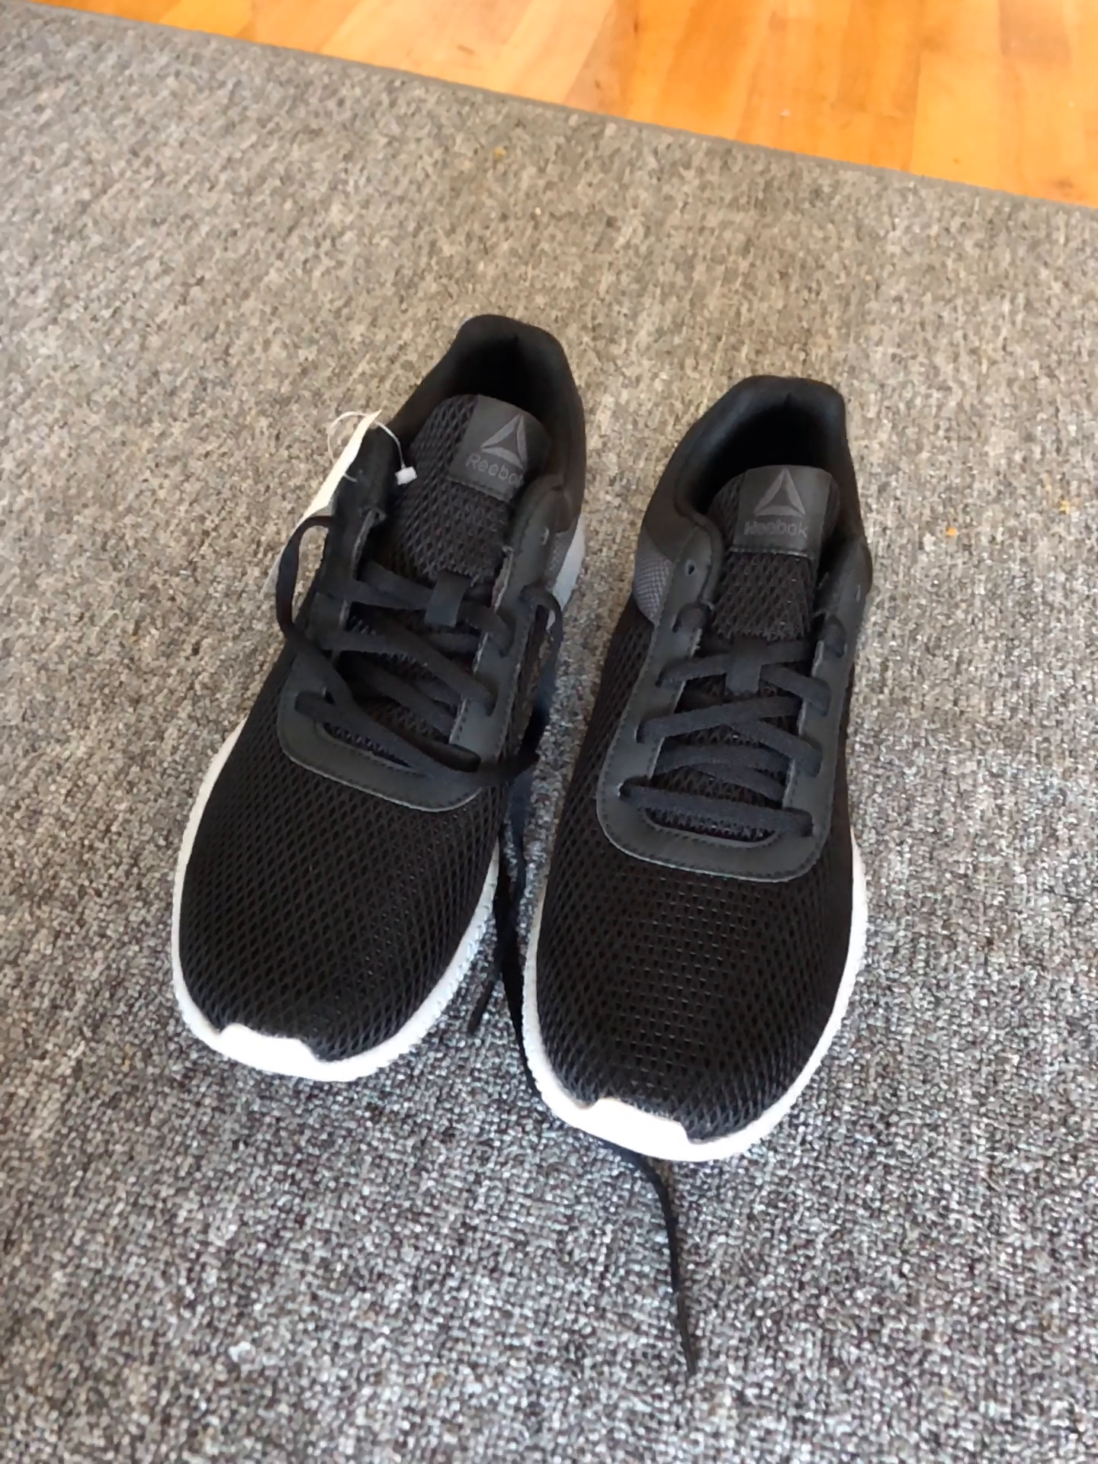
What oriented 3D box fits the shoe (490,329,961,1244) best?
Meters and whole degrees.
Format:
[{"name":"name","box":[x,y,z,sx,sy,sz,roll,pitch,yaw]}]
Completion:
[{"name":"shoe","box":[0.069,-0.003,0.422,0.110,0.099,0.302,12,52,3]}]

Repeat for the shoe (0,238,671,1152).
[{"name":"shoe","box":[-0.048,-0.035,0.413,0.116,0.099,0.302,13,52,5]}]
